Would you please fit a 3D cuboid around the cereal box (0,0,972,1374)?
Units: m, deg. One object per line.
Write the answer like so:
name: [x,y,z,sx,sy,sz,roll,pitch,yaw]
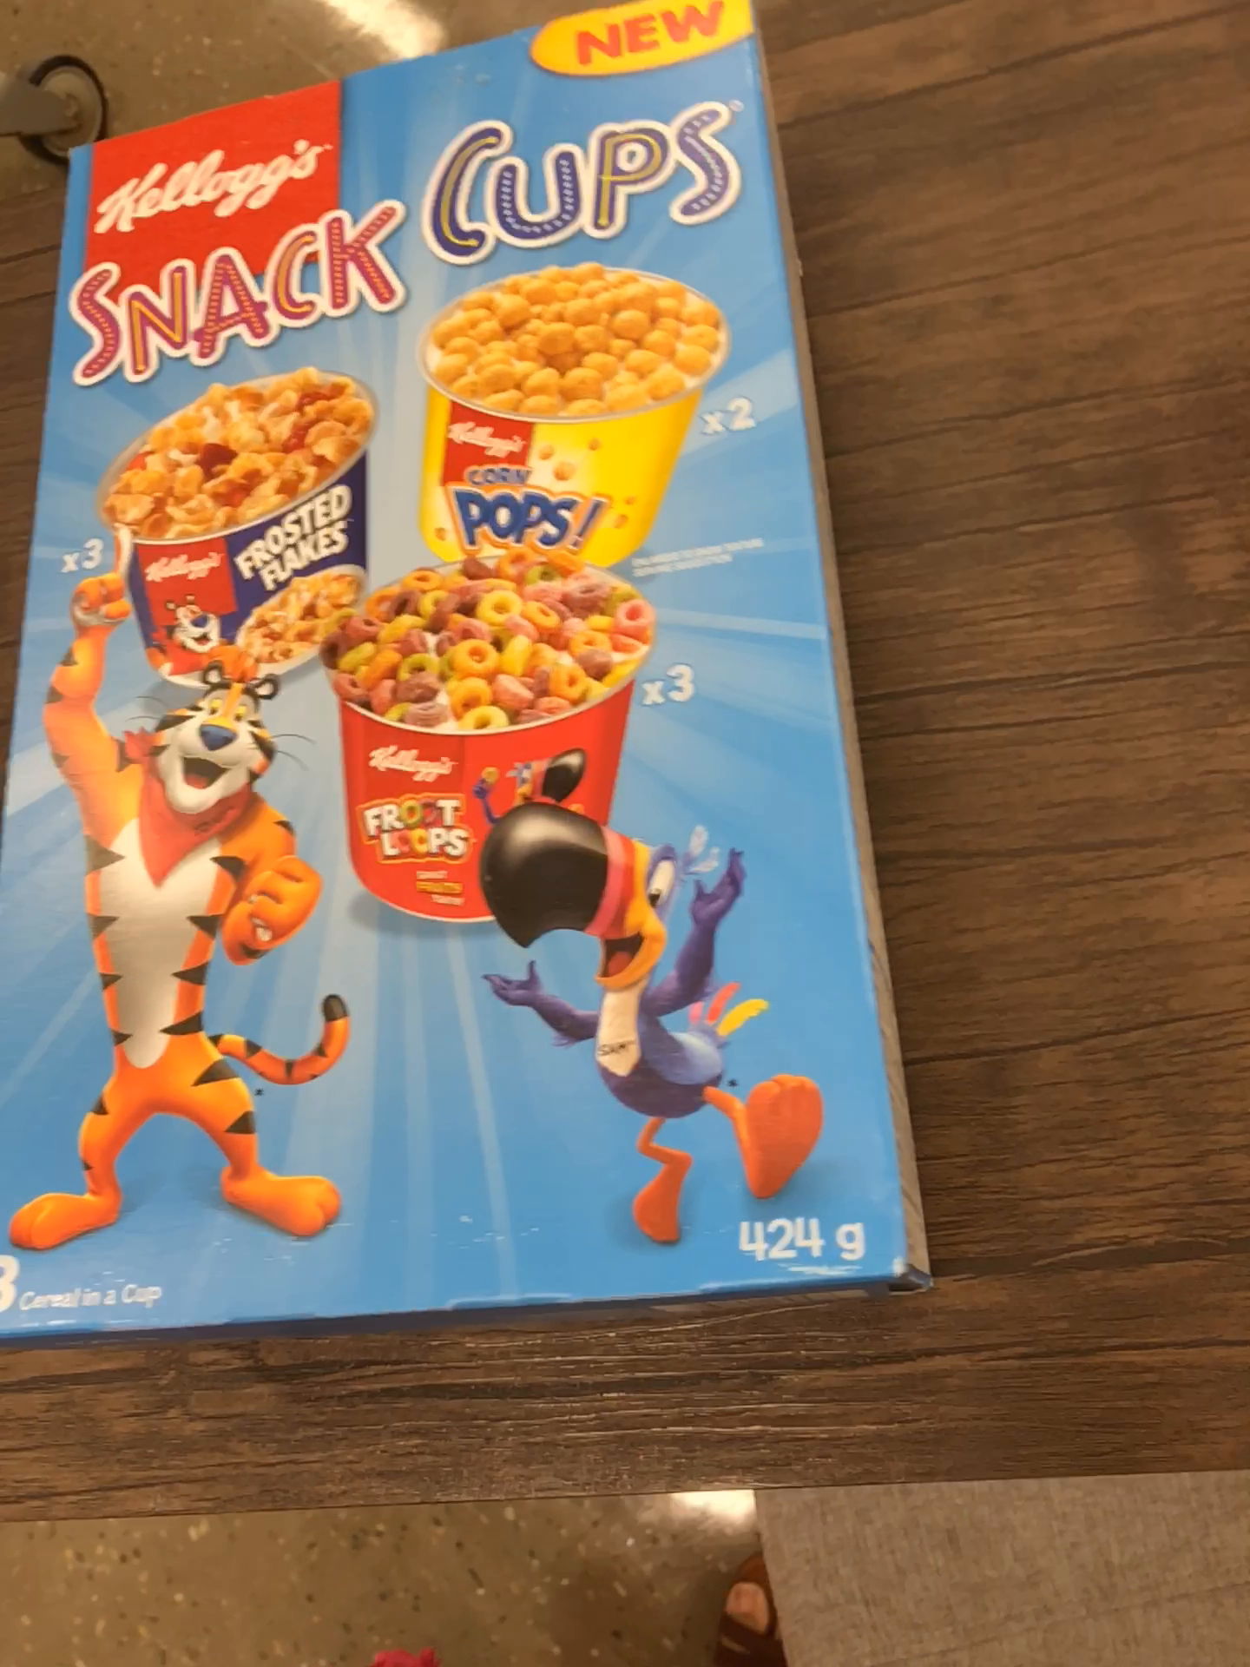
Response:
cereal box: [-0.044,-0.042,0.368,0.220,0.100,0.330,-8,71,11]
